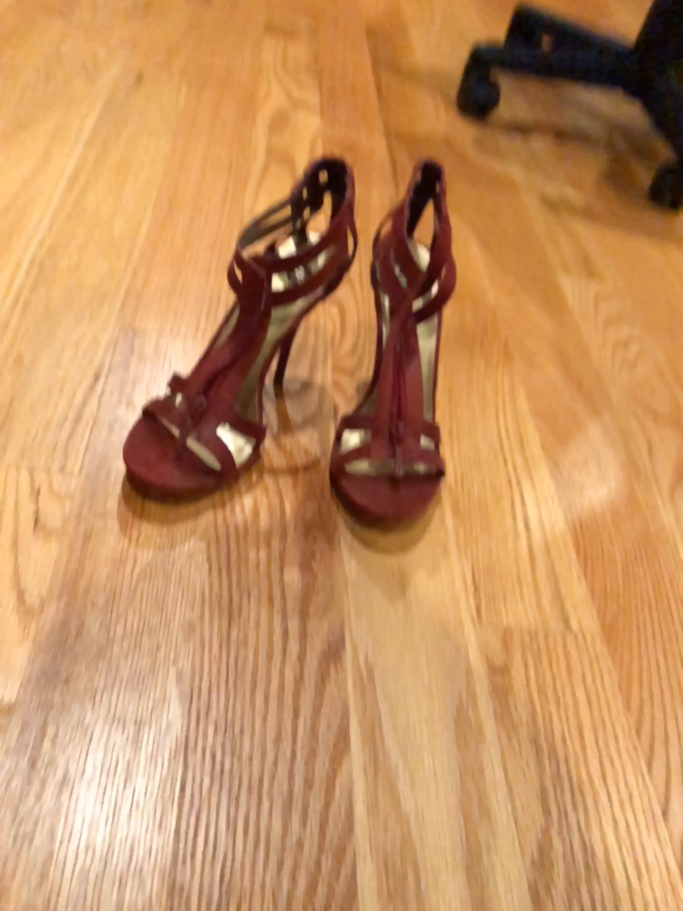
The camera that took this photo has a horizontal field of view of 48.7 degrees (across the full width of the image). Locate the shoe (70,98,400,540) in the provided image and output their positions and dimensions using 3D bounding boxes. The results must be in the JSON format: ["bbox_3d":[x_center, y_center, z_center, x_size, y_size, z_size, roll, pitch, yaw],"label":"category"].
[{"bbox_3d":[-0.061,-0.088,0.457,0.085,0.175,0.200,26,44,9],"label":"shoe"}]

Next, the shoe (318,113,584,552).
[{"bbox_3d":[0.047,-0.079,0.476,0.085,0.175,0.208,7,44,-11],"label":"shoe"}]
